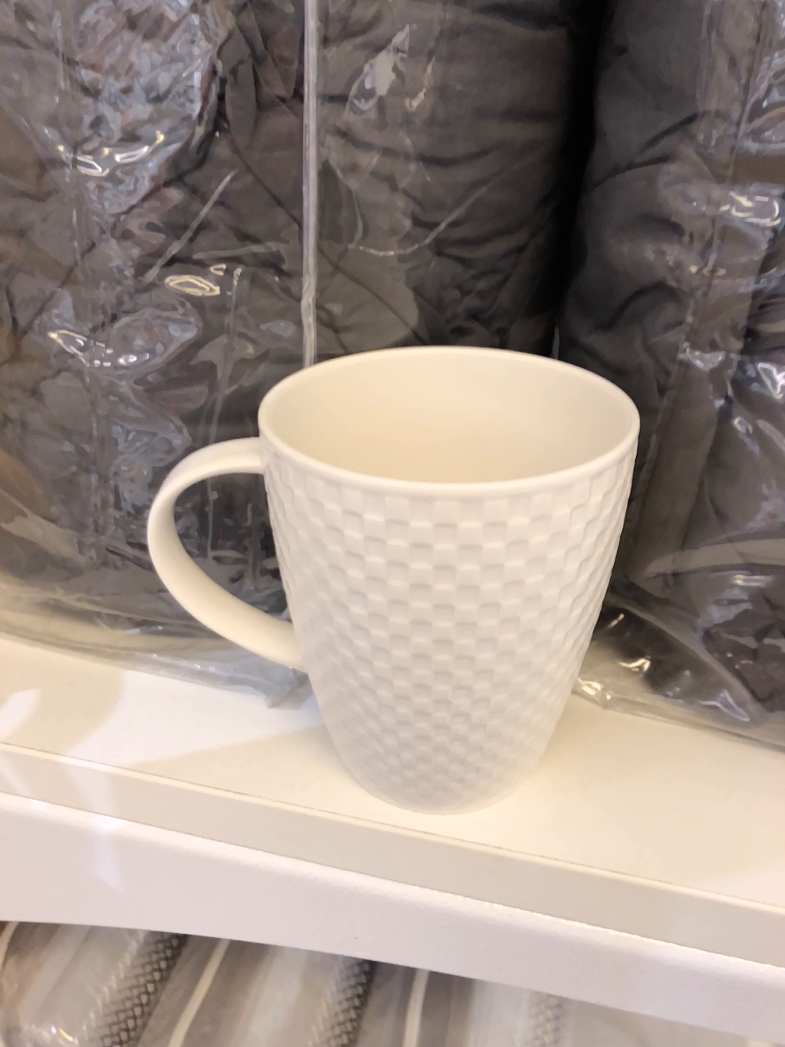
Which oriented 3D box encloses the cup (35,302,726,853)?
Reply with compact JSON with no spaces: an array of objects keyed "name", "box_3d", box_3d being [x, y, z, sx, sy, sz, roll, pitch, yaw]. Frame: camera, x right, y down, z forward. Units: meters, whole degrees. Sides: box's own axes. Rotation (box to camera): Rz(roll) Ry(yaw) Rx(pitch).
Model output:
[{"name":"cup","box_3d":[-0.004,0.006,0.197,0.110,0.089,0.081,-2,29,-4]}]
